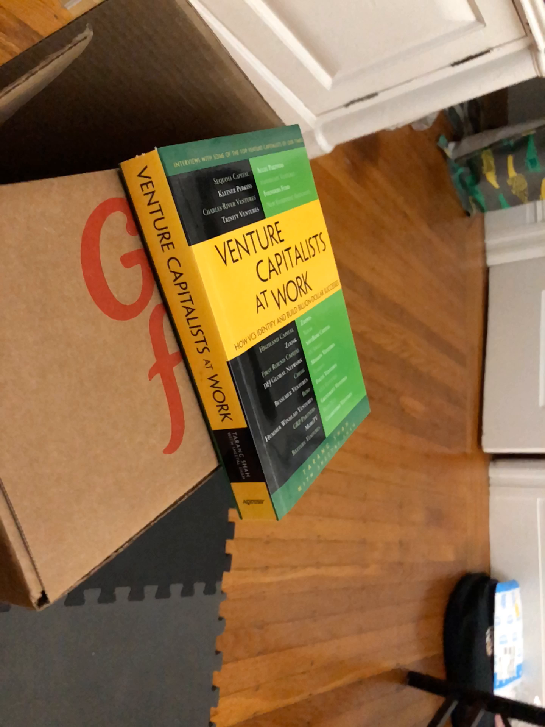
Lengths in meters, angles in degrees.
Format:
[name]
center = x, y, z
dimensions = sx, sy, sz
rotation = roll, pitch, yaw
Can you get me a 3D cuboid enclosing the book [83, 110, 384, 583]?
[book]
center = -0.004, -0.020, 0.393
dimensions = 0.161, 0.040, 0.260
rotation = -37, 116, -51
